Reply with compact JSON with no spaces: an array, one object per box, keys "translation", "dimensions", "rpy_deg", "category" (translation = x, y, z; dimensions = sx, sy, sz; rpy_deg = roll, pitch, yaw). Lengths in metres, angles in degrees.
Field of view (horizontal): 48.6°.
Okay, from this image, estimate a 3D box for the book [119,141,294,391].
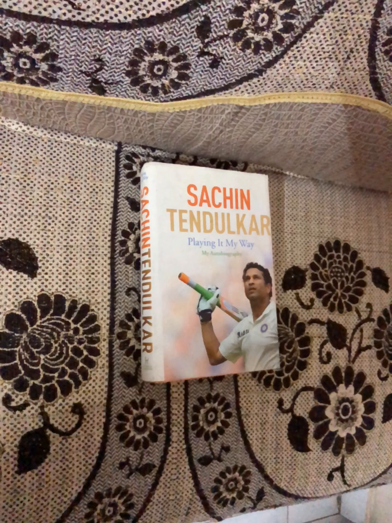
[{"translation":[0.010,0.007,0.516],"dimensions":[0.181,0.070,0.260],"rpy_deg":[1,80,-27],"category":"book"}]
